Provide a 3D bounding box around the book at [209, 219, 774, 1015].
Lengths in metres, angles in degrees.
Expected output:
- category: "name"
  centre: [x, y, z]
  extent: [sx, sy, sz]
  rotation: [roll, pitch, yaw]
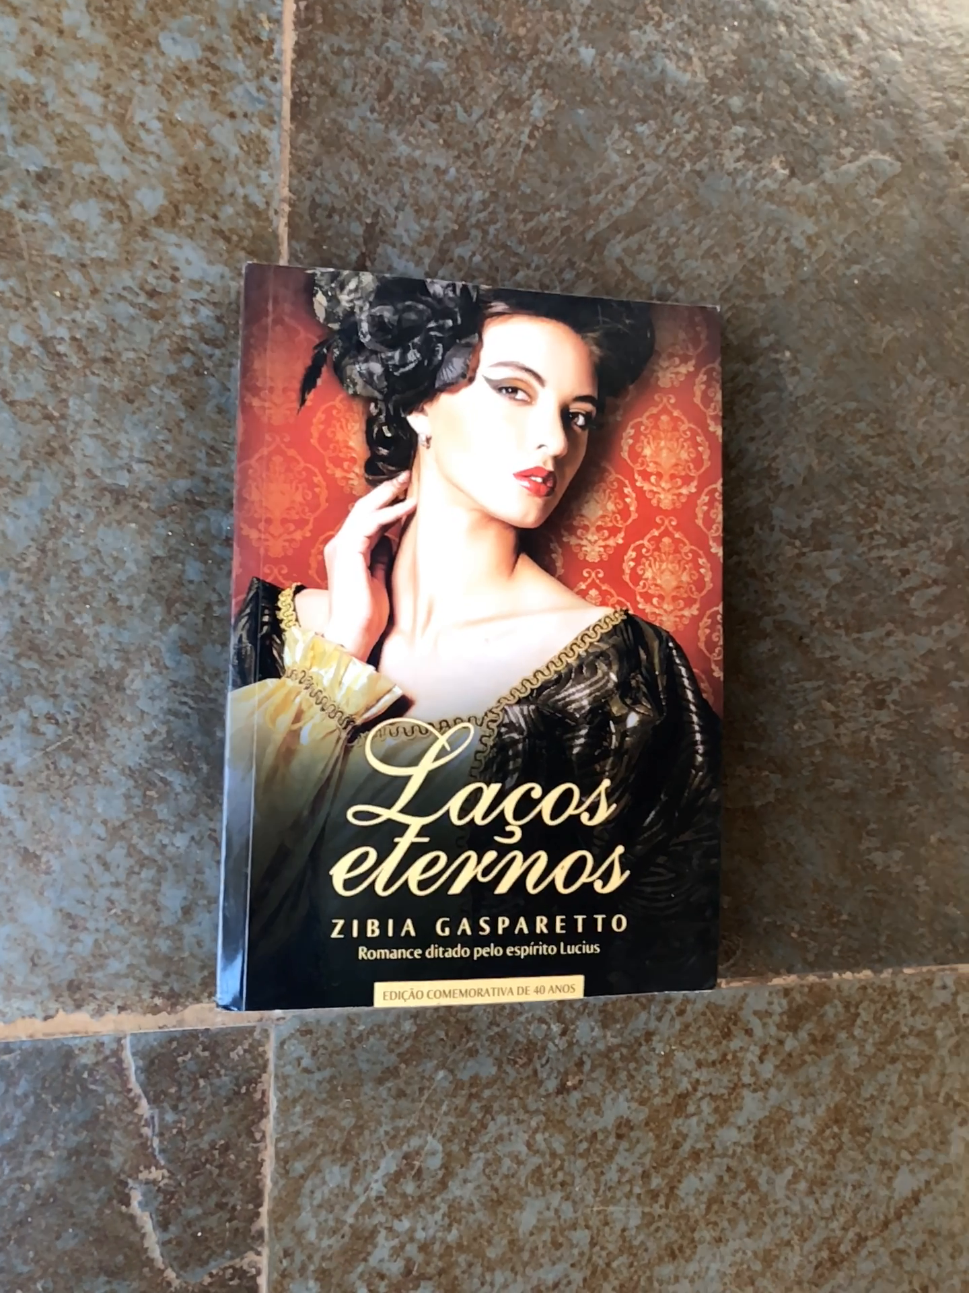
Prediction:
- category: "book"
  centre: [0.004, -0.008, 0.305]
  extent: [0.154, 0.027, 0.204]
  rotation: [2, 84, -14]
